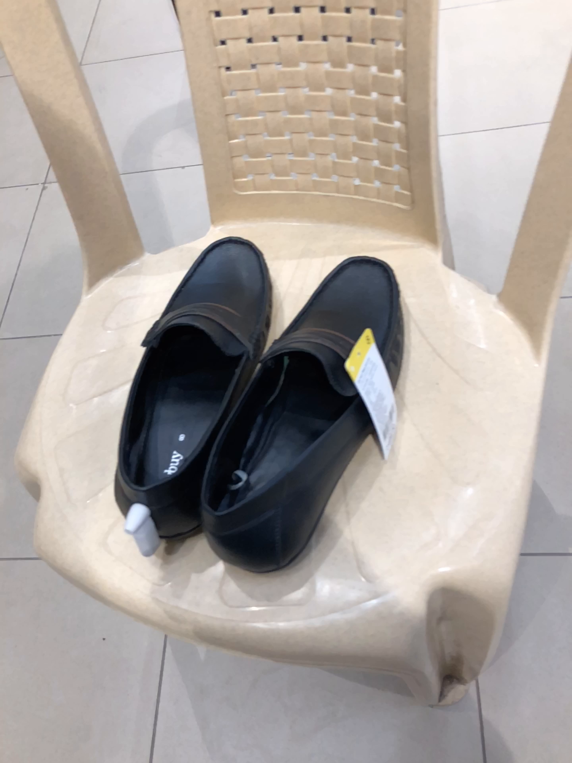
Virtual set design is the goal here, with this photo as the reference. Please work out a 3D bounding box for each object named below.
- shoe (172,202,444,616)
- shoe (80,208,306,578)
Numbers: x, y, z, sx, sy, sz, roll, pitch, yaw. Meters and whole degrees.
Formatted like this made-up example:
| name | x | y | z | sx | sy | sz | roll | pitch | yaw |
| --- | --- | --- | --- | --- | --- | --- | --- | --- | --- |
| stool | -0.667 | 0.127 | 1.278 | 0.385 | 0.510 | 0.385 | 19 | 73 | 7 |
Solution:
| name | x | y | z | sx | sy | sz | roll | pitch | yaw |
| --- | --- | --- | --- | --- | --- | --- | --- | --- | --- |
| shoe | 0.032 | 0.009 | 0.465 | 0.100 | 0.088 | 0.283 | 13 | 65 | 19 |
| shoe | -0.057 | 0.000 | 0.495 | 0.100 | 0.088 | 0.276 | 2 | 62 | 13 |
